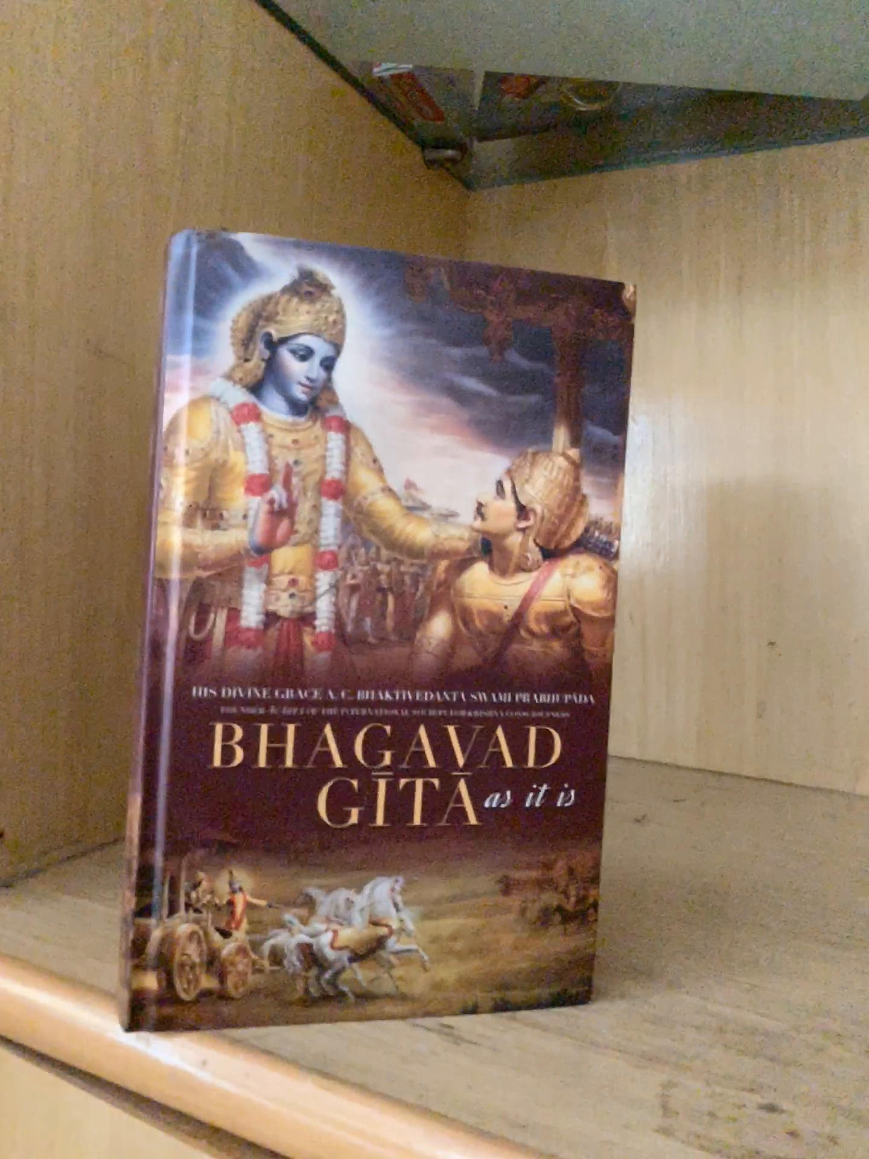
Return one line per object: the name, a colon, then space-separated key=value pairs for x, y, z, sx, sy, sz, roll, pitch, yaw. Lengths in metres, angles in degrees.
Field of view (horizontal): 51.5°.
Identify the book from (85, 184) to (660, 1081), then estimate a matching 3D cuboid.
book: x=-0.019 y=0.015 z=0.270 sx=0.140 sy=0.220 sz=0.070 roll=3 pitch=0 yaw=-12
